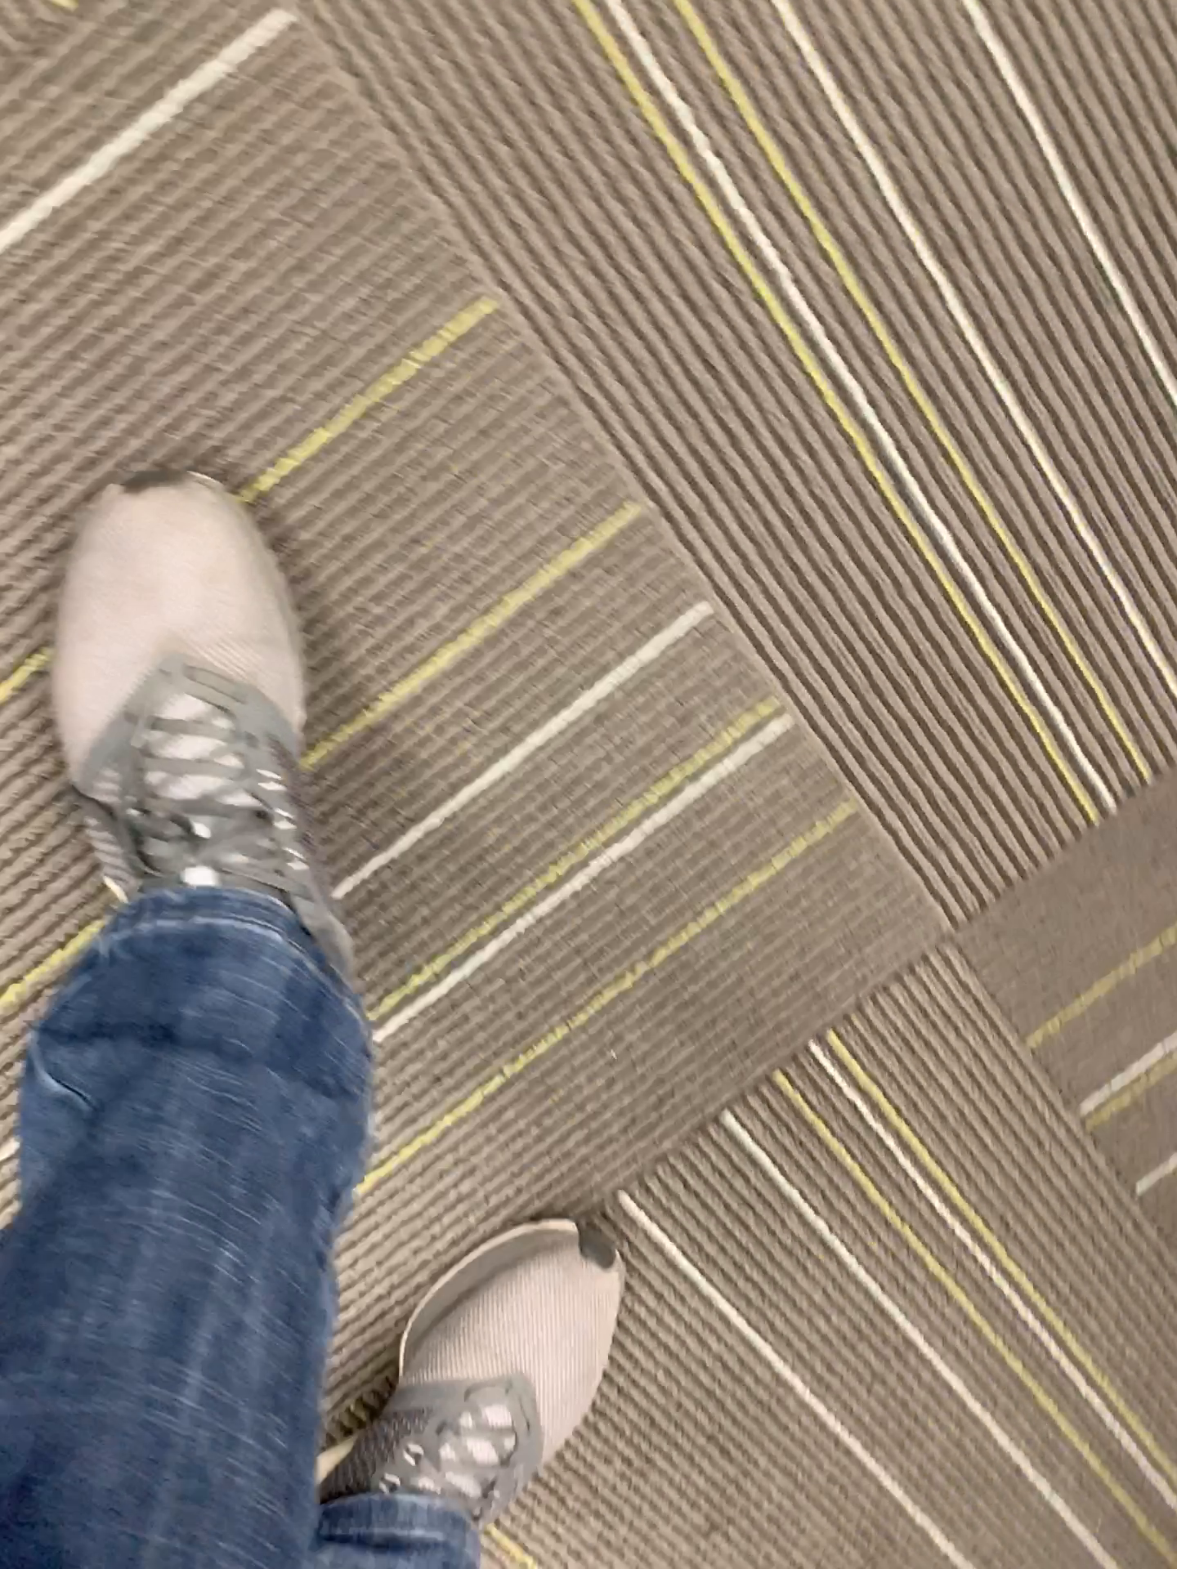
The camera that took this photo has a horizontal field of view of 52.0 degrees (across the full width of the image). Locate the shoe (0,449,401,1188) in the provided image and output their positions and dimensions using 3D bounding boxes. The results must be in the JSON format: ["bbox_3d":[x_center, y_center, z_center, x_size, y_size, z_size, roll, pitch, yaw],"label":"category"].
[{"bbox_3d":[-0.181,0.014,0.563,0.131,0.093,0.313,-10,107,-7],"label":"shoe"}]

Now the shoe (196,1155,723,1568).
[{"bbox_3d":[-0.077,0.382,0.697,0.128,0.093,0.299,37,96,-17],"label":"shoe"}]
